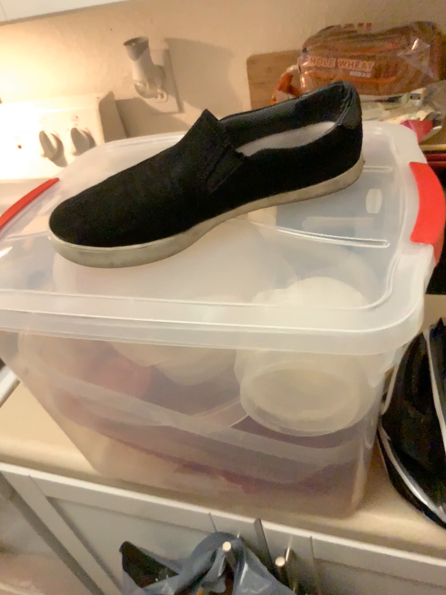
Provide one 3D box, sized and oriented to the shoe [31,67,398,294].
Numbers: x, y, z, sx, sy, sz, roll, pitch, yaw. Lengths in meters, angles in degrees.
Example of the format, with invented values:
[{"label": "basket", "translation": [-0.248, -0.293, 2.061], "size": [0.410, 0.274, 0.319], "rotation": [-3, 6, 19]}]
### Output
[{"label": "shoe", "translation": [-0.006, -0.104, 0.406], "size": [0.270, 0.070, 0.100], "rotation": [-21, 39, -10]}]
